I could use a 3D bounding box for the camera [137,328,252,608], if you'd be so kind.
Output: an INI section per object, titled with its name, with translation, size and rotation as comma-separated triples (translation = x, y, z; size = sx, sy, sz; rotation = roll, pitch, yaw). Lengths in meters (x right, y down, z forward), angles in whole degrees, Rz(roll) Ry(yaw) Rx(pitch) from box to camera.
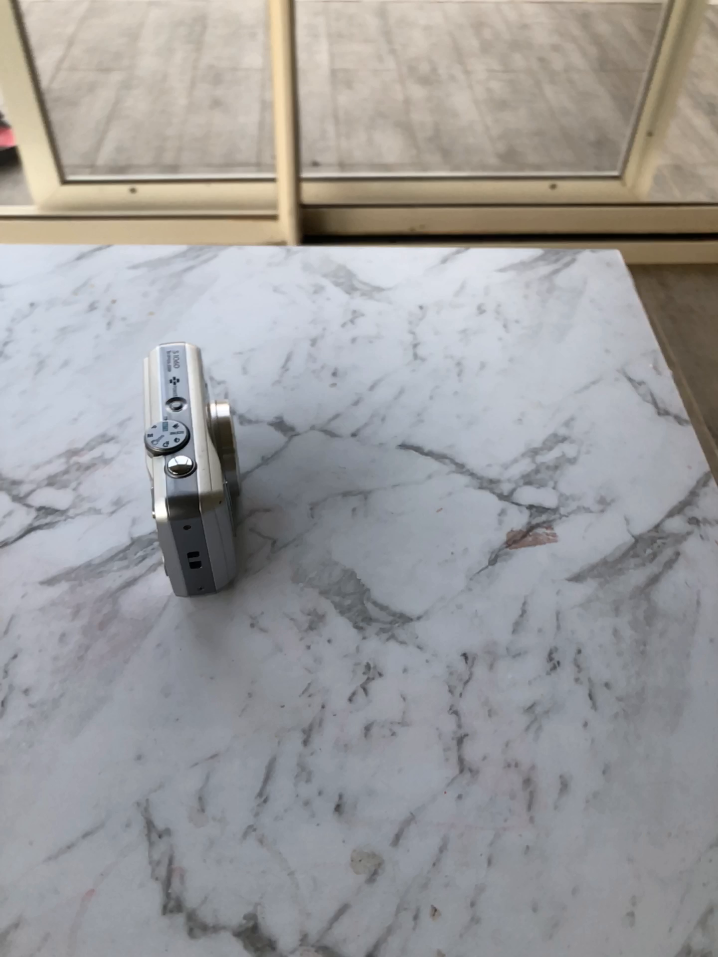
[camera]
translation = -0.070, -0.006, 0.337
size = 0.034, 0.061, 0.099
rotation = -8, 50, -8
